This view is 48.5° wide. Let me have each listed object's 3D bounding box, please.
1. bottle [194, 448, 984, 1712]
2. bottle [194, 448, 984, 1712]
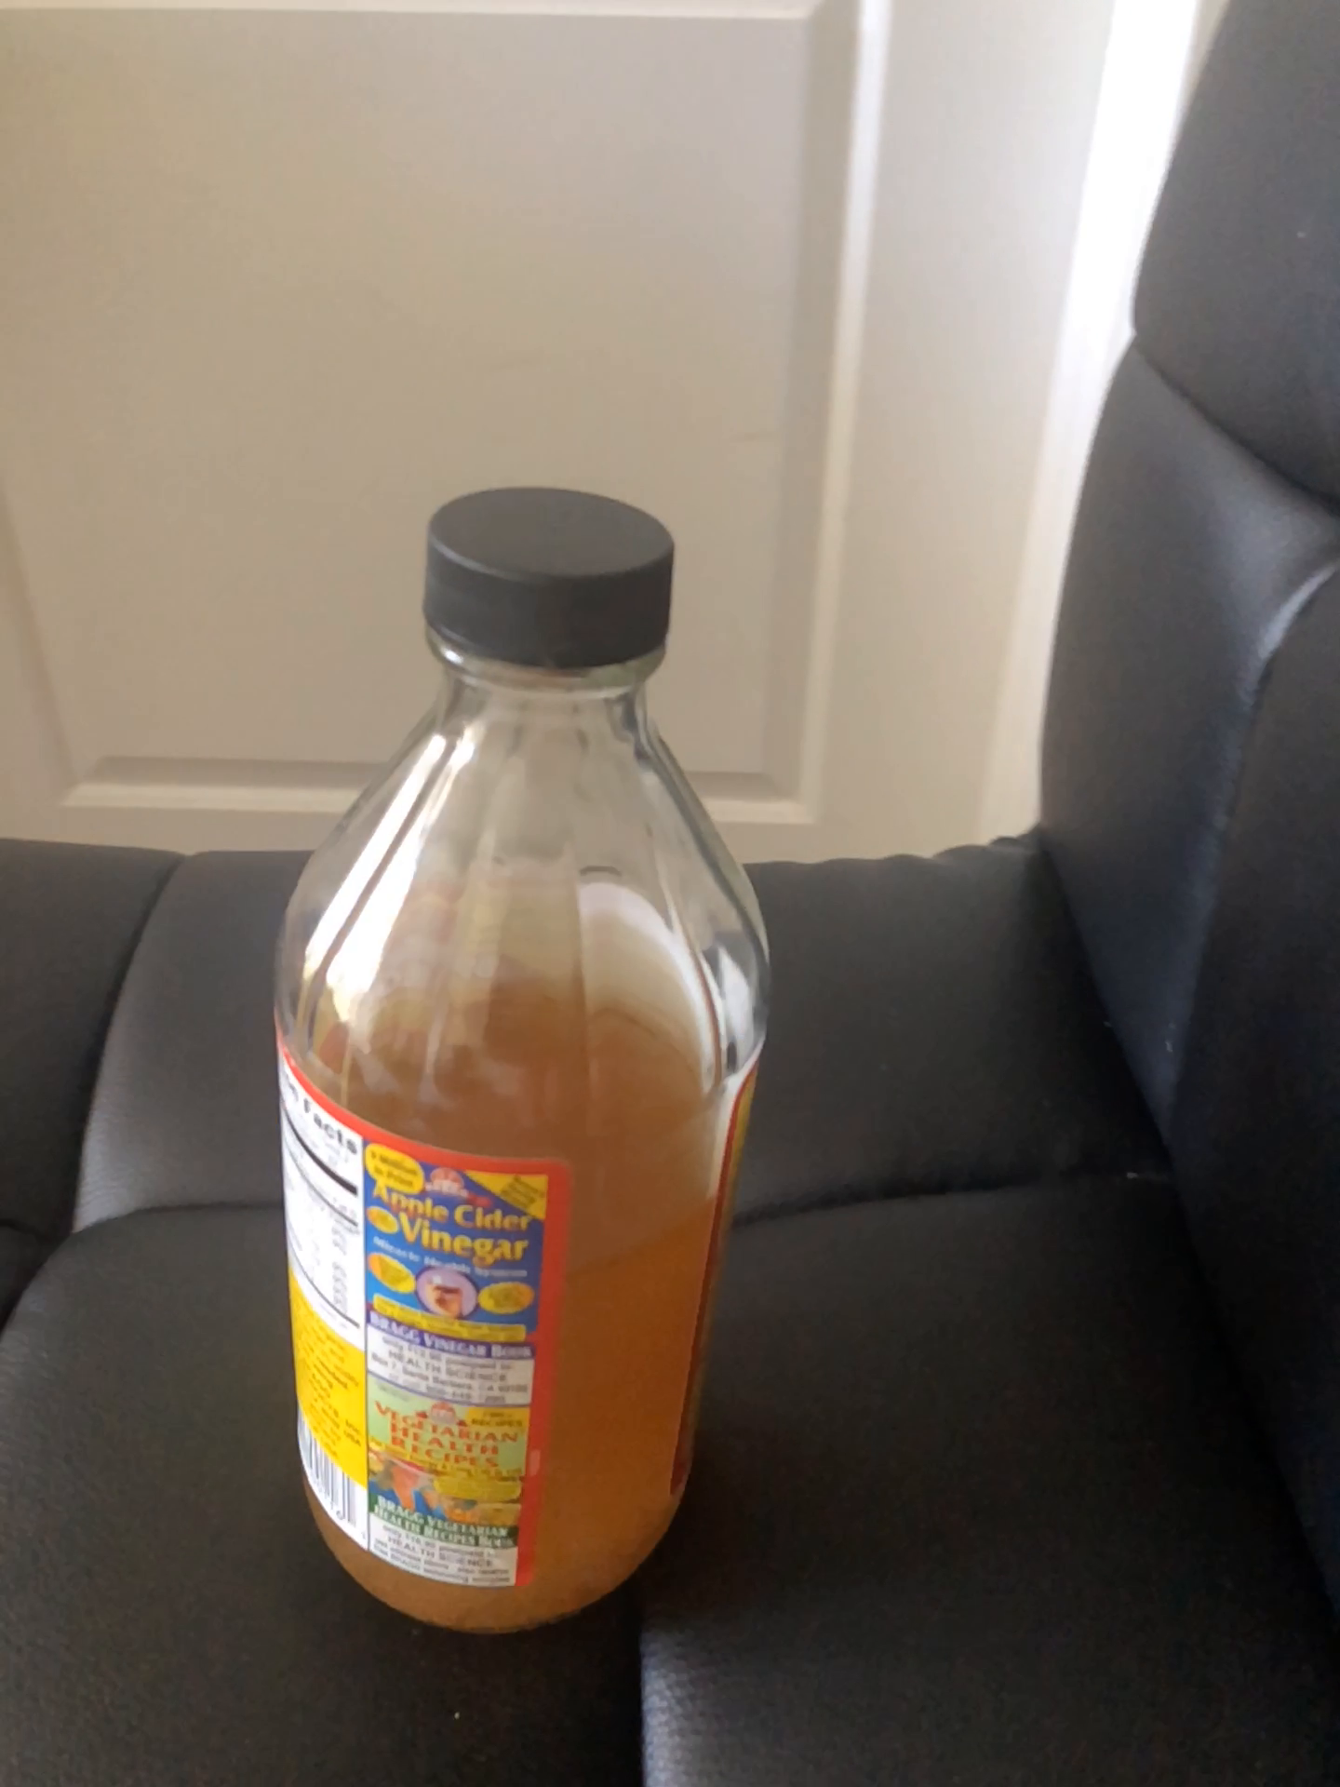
[{"bbox_3d":[-0.022,0.034,0.230,0.070,0.179,0.070,6,36,-4],"label":"bottle"},{"bbox_3d":[-0.022,0.034,0.230,0.070,0.179,0.070,6,36,-4],"label":"bottle"}]
